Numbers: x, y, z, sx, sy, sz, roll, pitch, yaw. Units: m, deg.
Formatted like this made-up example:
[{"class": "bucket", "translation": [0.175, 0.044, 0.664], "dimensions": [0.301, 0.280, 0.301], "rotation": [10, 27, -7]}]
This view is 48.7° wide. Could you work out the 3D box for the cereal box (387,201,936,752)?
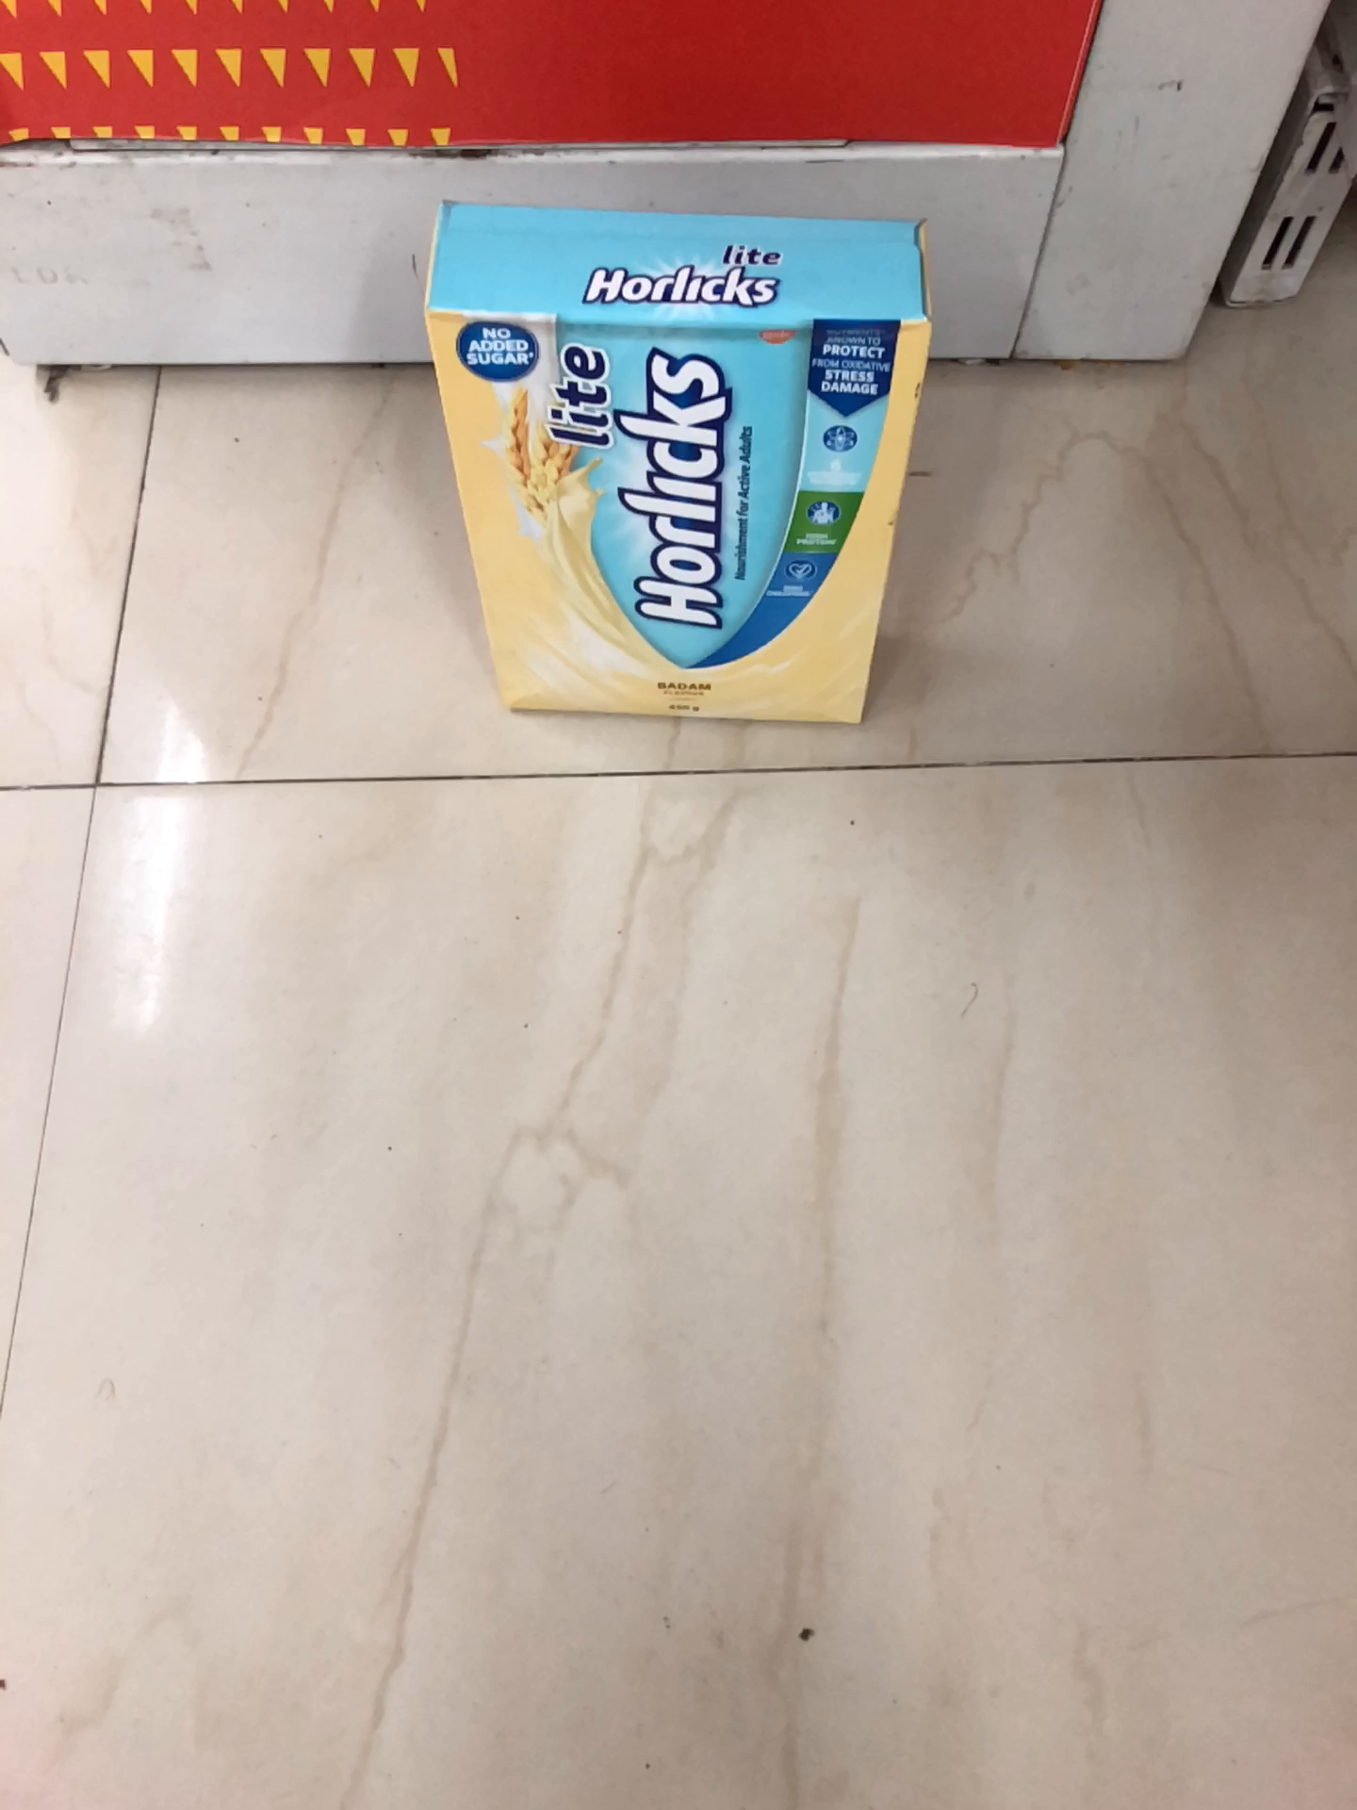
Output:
[{"class": "cereal box", "translation": [-0.006, -0.131, 0.504], "dimensions": [0.150, 0.189, 0.050], "rotation": [3, 60, 0]}]
